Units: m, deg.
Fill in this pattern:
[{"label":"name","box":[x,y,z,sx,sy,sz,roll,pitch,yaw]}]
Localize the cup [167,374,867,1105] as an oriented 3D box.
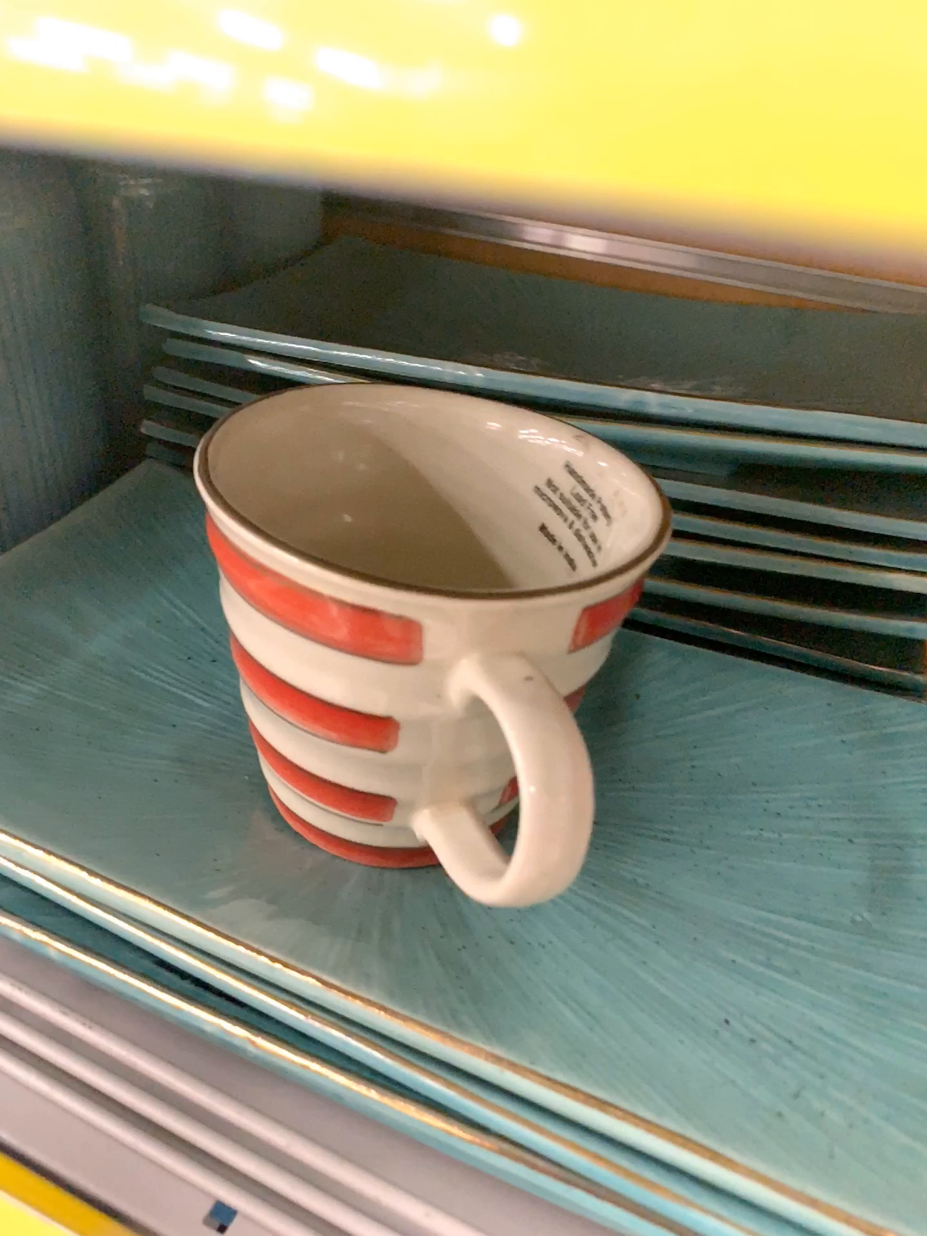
[{"label":"cup","box":[-0.006,0.011,0.218,0.100,0.090,0.130,-6,35,-21]}]
